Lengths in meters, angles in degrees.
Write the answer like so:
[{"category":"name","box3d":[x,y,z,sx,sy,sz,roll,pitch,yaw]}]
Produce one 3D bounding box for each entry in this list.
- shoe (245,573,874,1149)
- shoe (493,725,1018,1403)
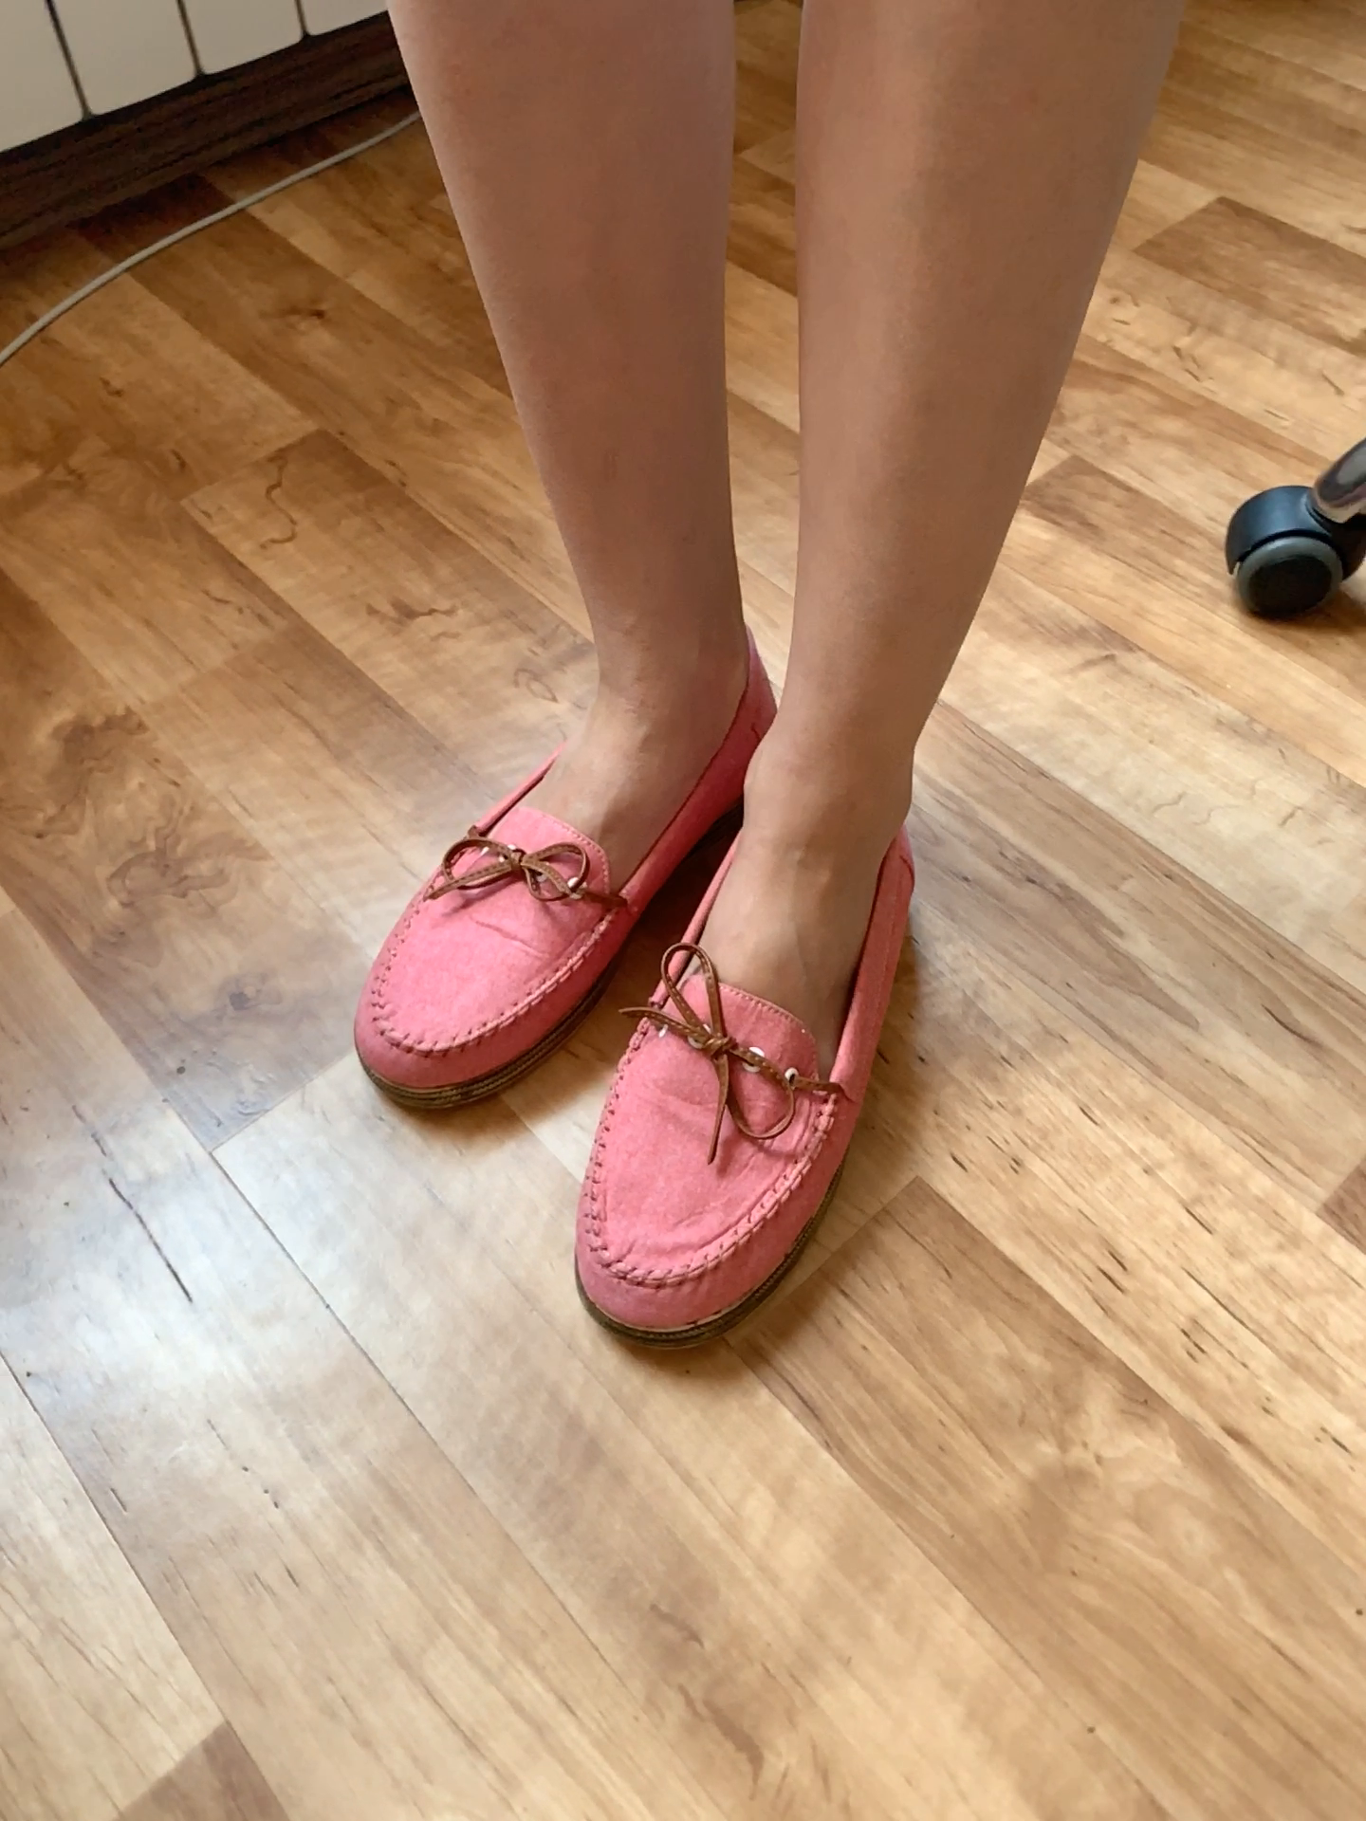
[{"category":"shoe","box3d":[-0.041,-0.032,0.591,0.100,0.060,0.260,35,62,24]},{"category":"shoe","box3d":[0.037,0.046,0.538,0.090,0.060,0.251,23,58,17]}]
